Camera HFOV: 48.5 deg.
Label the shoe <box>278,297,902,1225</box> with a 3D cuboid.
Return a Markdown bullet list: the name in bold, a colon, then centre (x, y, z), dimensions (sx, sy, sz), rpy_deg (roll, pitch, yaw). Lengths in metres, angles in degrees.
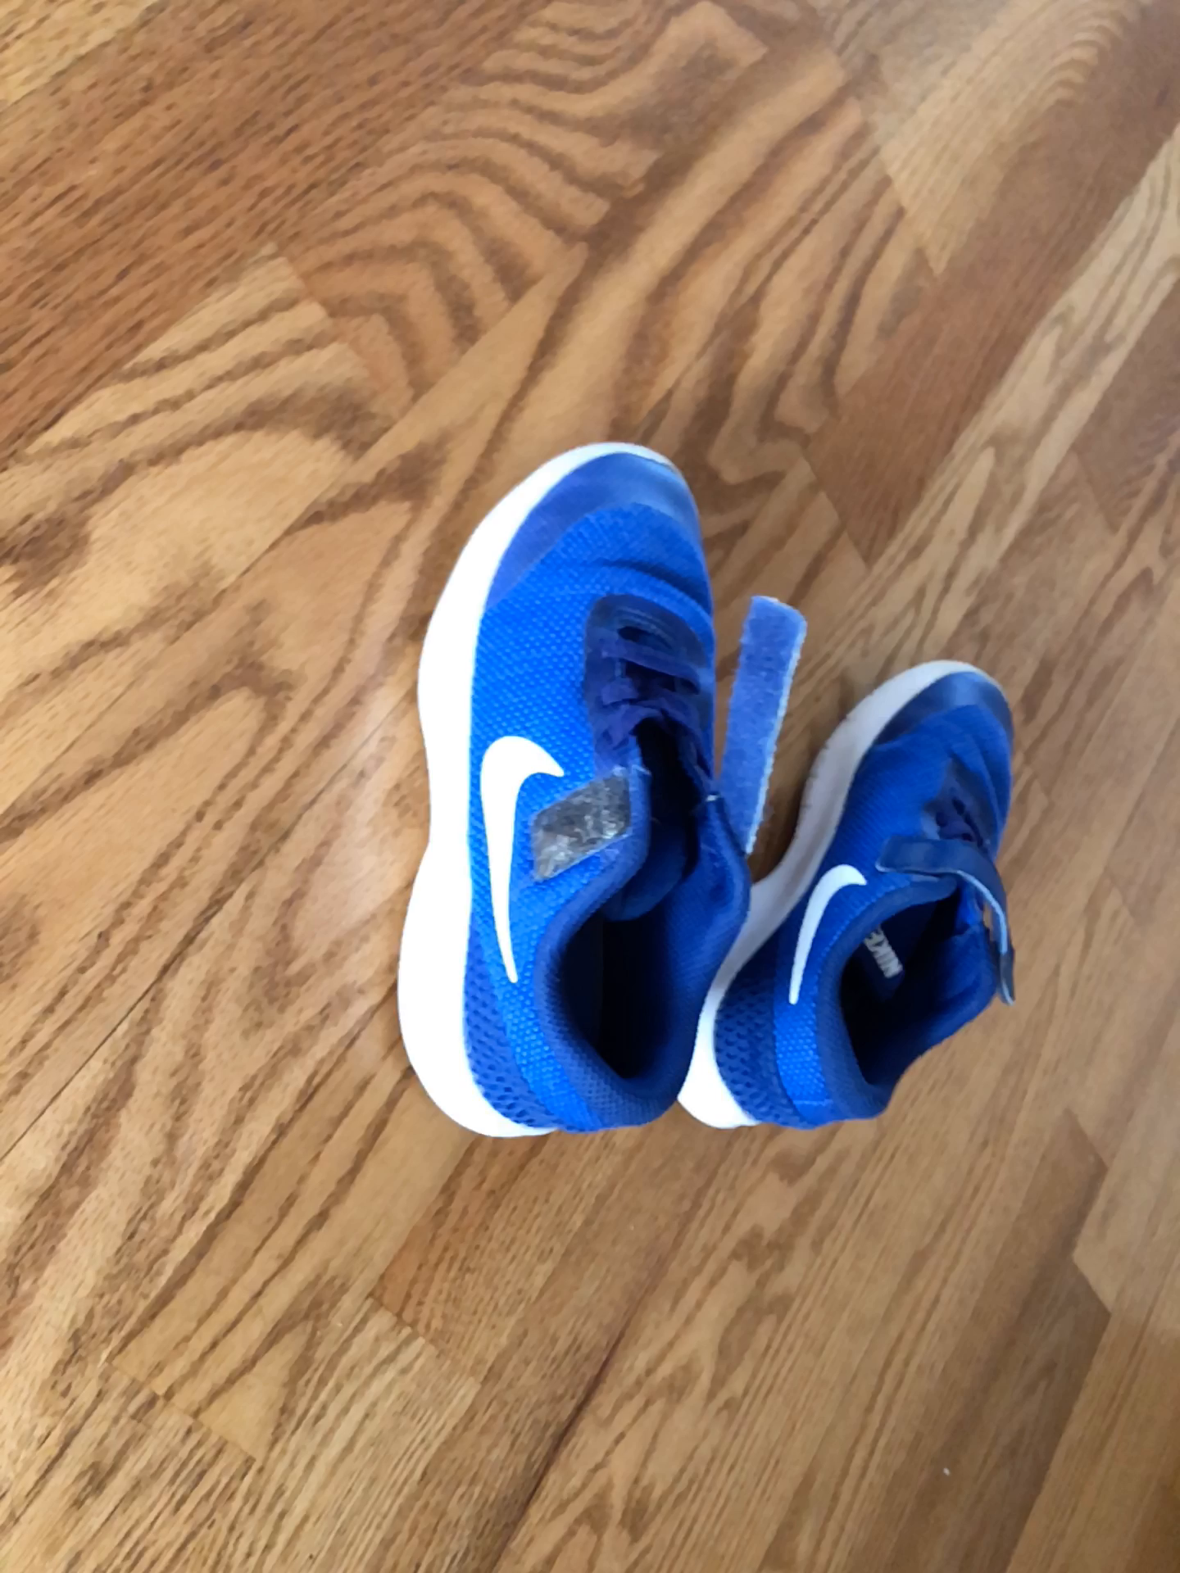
- **shoe**: centre (0.003, -0.002, 0.361), dimensions (0.094, 0.092, 0.214), rpy_deg (19, 79, -40)

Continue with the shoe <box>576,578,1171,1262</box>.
- **shoe**: centre (0.108, 0.036, 0.462), dimensions (0.215, 0.092, 0.093), rpy_deg (-53, 123, -26)
